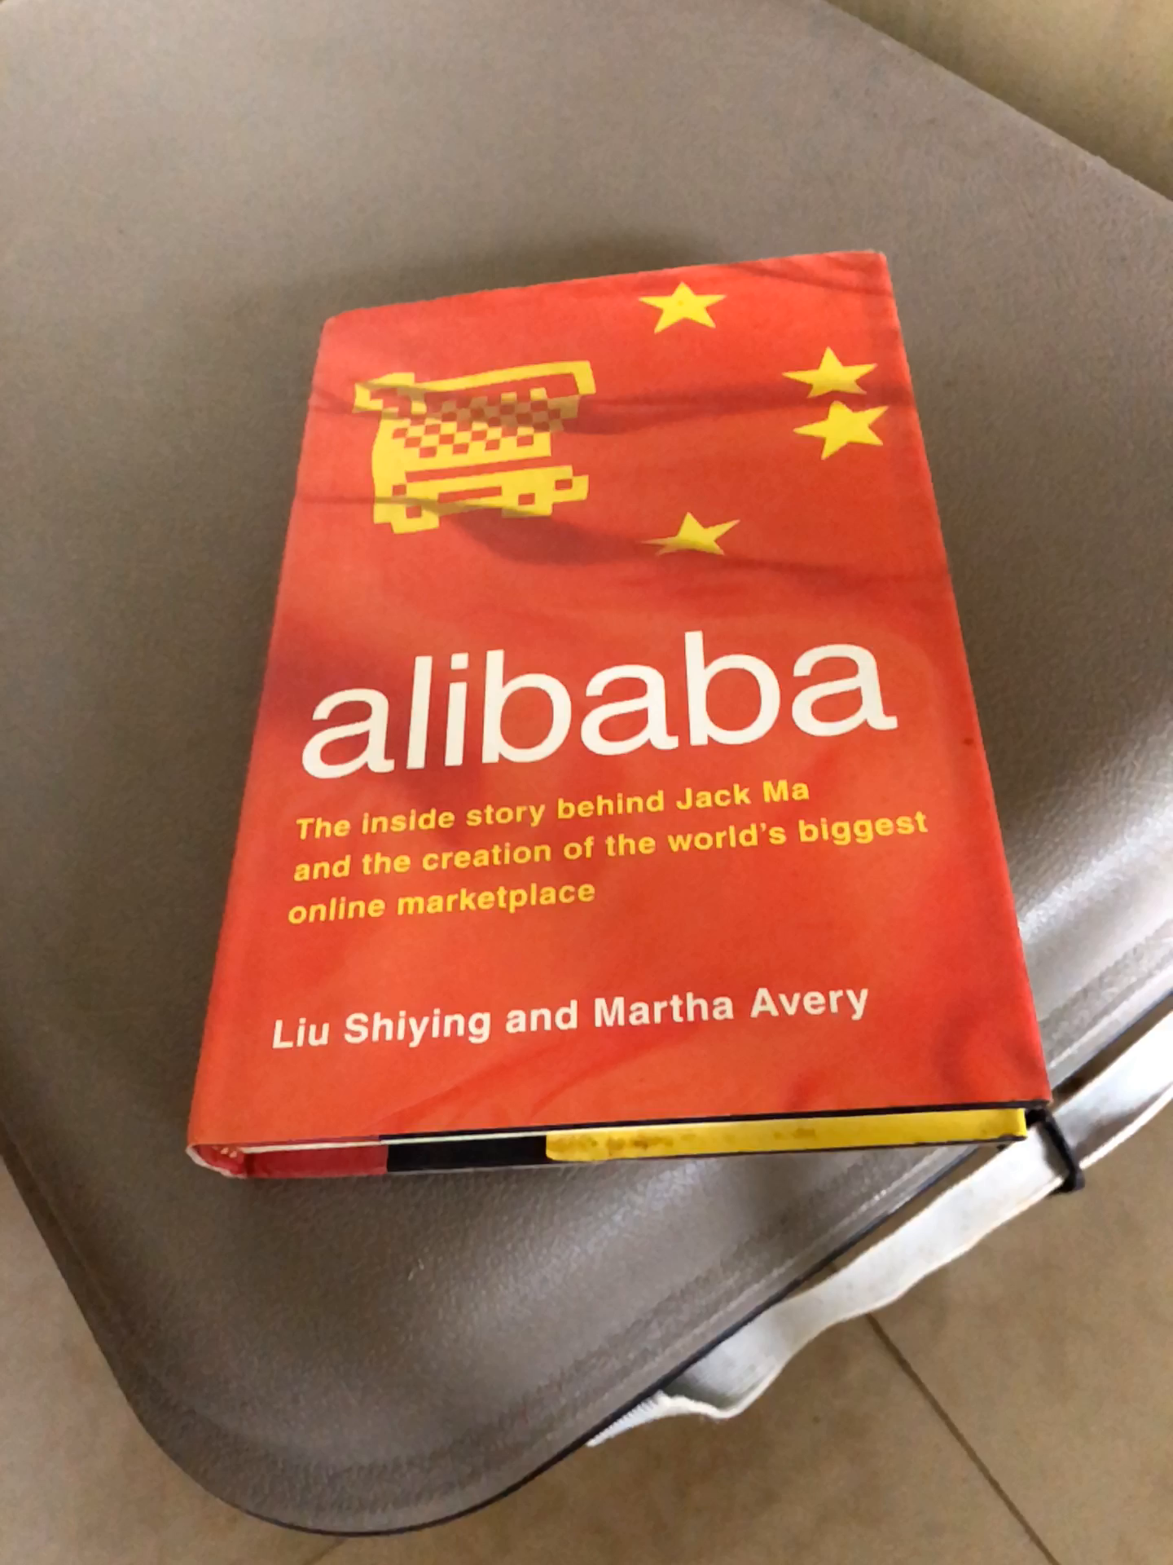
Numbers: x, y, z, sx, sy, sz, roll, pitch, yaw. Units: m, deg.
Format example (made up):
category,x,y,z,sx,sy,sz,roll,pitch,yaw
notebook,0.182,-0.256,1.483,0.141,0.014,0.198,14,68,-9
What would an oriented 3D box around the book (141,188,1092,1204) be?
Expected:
category,x,y,z,sx,sy,sz,roll,pitch,yaw
book,0.002,-0.041,0.309,0.160,0.040,0.261,-3,56,2
